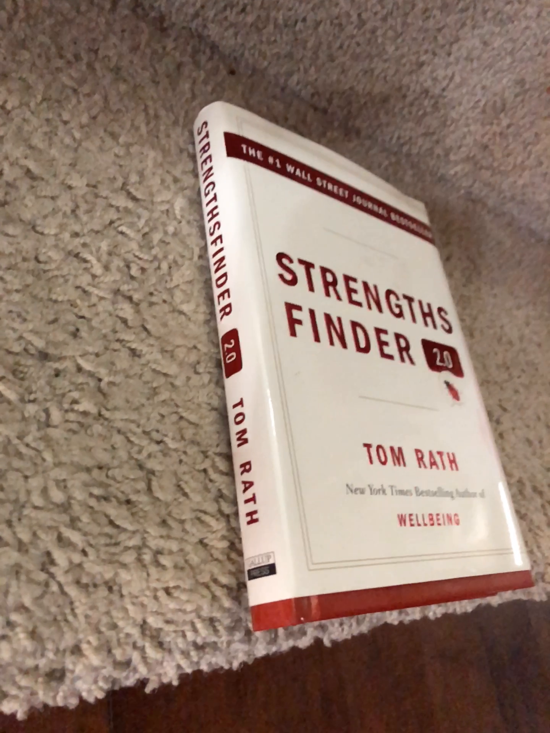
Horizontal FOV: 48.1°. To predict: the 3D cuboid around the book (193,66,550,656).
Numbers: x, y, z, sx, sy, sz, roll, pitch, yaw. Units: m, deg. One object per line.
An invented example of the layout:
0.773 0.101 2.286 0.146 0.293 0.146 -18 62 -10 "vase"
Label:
0.041 -0.004 0.235 0.137 0.029 0.190 13 59 -39 "book"
